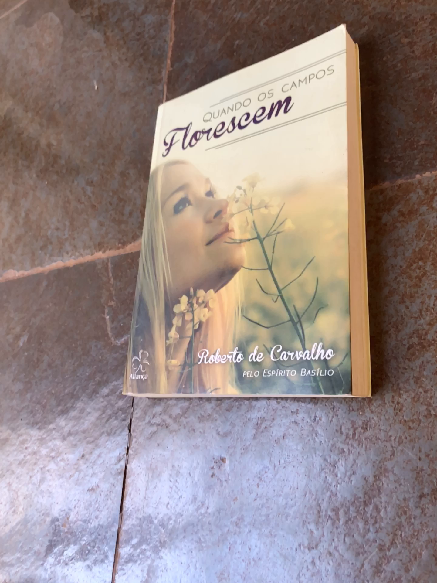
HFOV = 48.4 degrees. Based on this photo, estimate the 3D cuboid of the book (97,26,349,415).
[{"bbox_3d":[0.000,-0.039,0.312,0.161,0.022,0.226,-9,69,35],"label":"book"}]
